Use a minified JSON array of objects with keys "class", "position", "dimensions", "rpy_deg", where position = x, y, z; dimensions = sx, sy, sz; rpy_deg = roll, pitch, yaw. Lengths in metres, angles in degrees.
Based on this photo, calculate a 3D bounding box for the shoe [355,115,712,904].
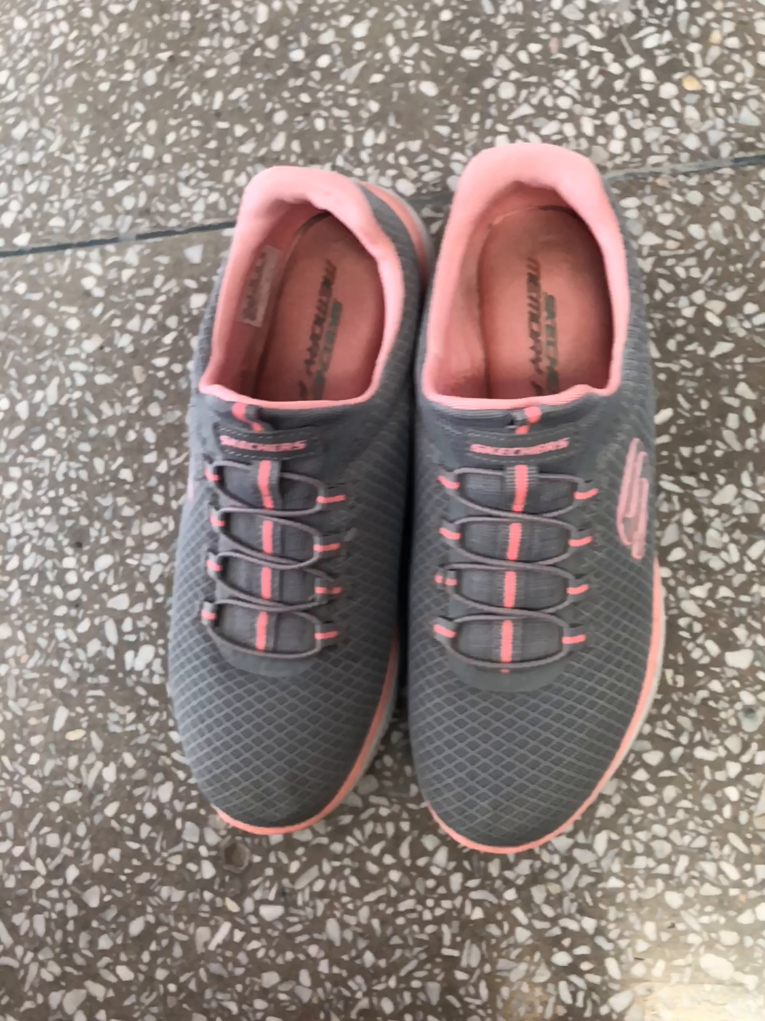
[{"class":"shoe","position":[0.054,-0.003,0.305],"dimensions":[0.090,0.100,0.230],"rpy_deg":[4,85,10]}]

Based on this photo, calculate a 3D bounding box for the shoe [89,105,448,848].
[{"class":"shoe","position":[-0.033,-0.013,0.331],"dimensions":[0.090,0.100,0.240],"rpy_deg":[4,85,10]}]
